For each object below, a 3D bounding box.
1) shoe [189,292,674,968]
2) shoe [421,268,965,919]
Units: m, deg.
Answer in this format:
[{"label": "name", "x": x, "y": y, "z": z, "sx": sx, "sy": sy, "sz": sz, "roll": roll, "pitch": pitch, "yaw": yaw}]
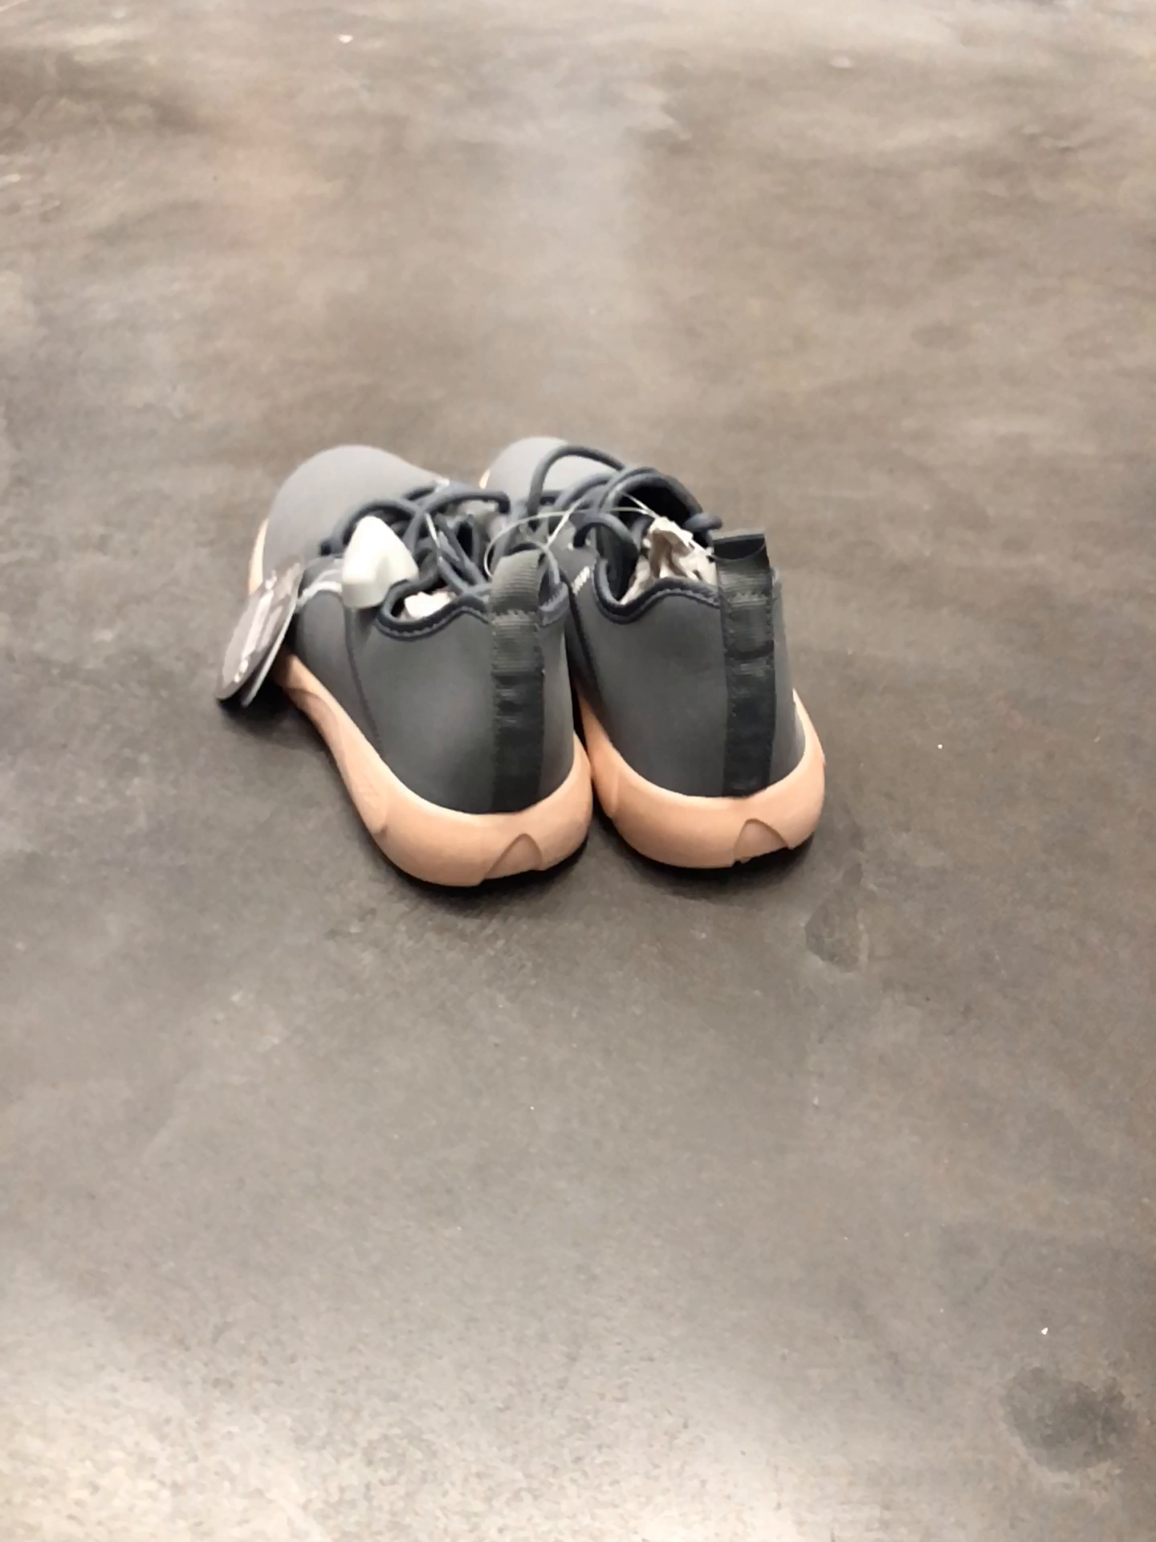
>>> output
[{"label": "shoe", "x": -0.061, "y": -0.065, "z": 0.441, "sx": 0.090, "sy": 0.099, "sz": 0.241, "roll": -13, "pitch": 44, "yaw": -17}, {"label": "shoe", "x": 0.021, "y": -0.078, "z": 0.451, "sx": 0.090, "sy": 0.099, "sz": 0.241, "roll": -12, "pitch": 44, "yaw": -16}]
